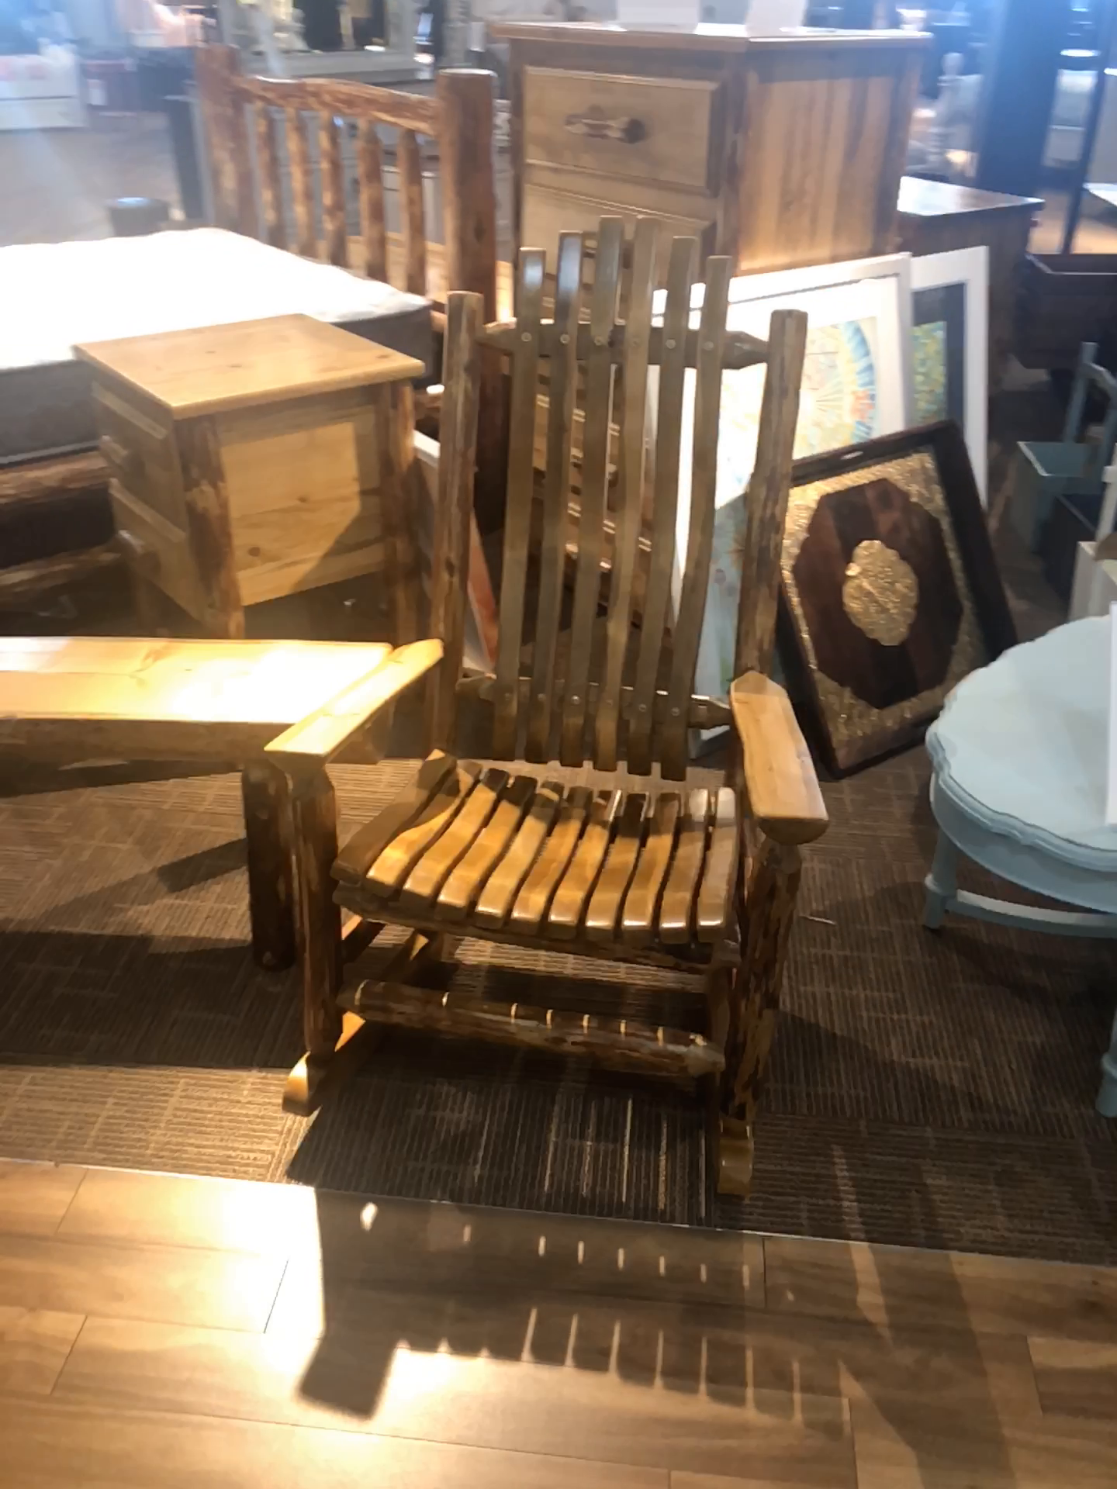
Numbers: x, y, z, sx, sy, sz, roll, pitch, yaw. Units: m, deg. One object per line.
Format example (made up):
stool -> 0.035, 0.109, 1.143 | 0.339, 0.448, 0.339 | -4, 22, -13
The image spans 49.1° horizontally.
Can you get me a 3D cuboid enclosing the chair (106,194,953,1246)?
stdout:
chair -> 0.034, -0.100, 1.655 | 0.717, 1.049, 0.889 | 6, 32, 9
